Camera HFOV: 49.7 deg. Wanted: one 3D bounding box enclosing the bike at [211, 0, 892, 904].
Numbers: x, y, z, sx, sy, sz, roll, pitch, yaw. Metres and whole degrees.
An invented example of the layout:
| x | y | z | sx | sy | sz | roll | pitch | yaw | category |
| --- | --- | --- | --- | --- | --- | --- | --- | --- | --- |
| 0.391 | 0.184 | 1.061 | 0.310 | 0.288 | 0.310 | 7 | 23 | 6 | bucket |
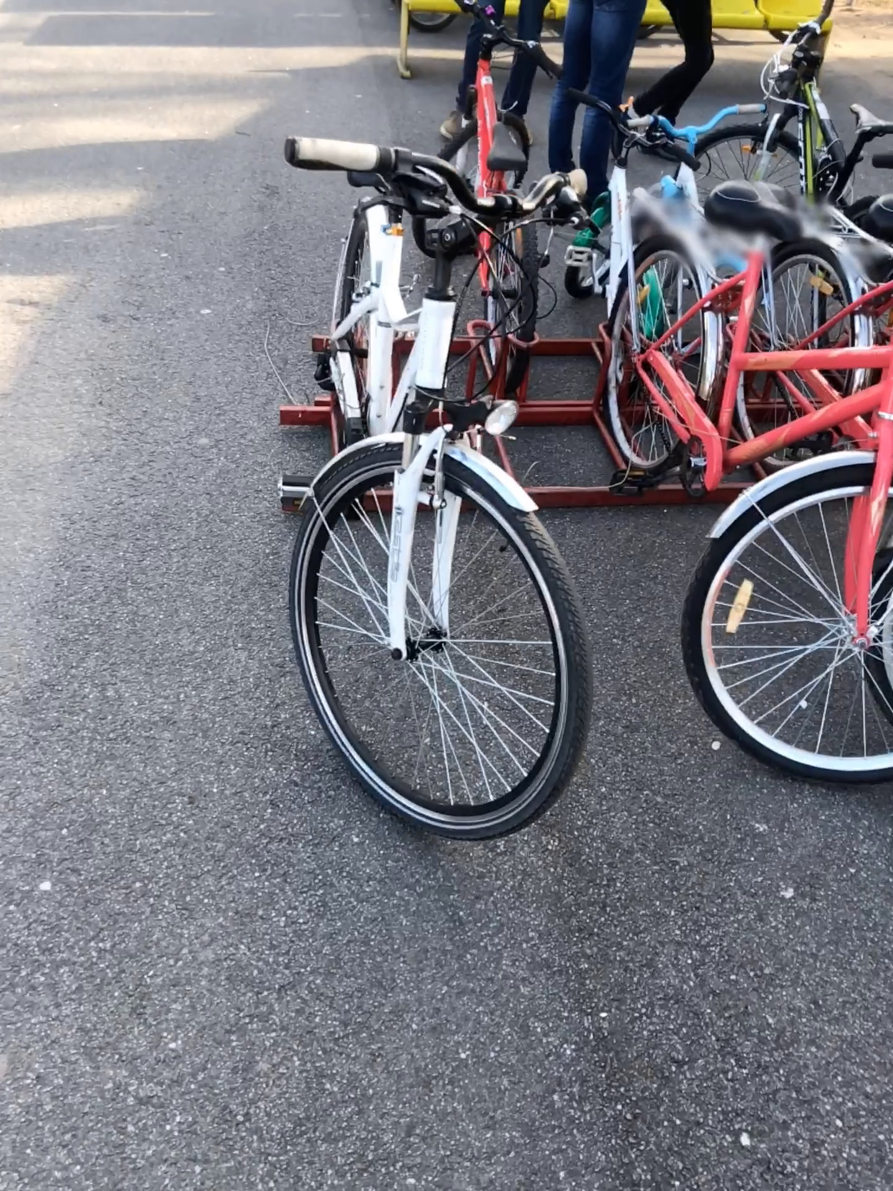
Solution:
| x | y | z | sx | sy | sz | roll | pitch | yaw | category |
| --- | --- | --- | --- | --- | --- | --- | --- | --- | --- |
| 0.016 | -0.462 | 1.961 | 0.645 | 1.112 | 1.706 | -9 | 41 | -13 | bike |
